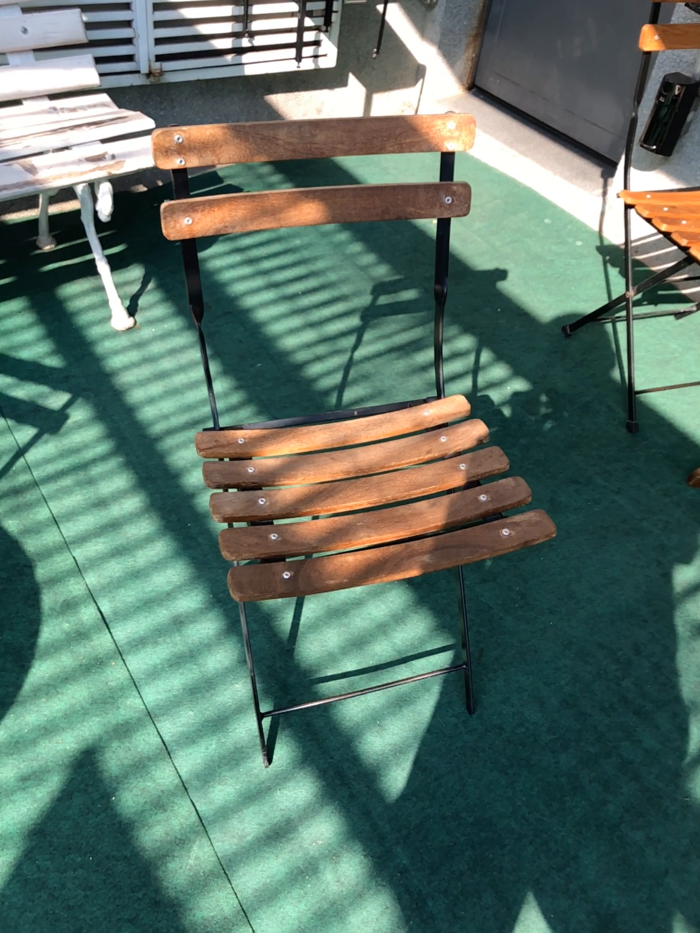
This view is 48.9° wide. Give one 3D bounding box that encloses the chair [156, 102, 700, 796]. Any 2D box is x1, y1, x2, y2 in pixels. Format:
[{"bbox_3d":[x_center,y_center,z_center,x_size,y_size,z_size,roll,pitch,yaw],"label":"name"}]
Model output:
[{"bbox_3d":[0.031,0.001,0.891,0.390,0.655,0.403,-9,46,-14],"label":"chair"}]
